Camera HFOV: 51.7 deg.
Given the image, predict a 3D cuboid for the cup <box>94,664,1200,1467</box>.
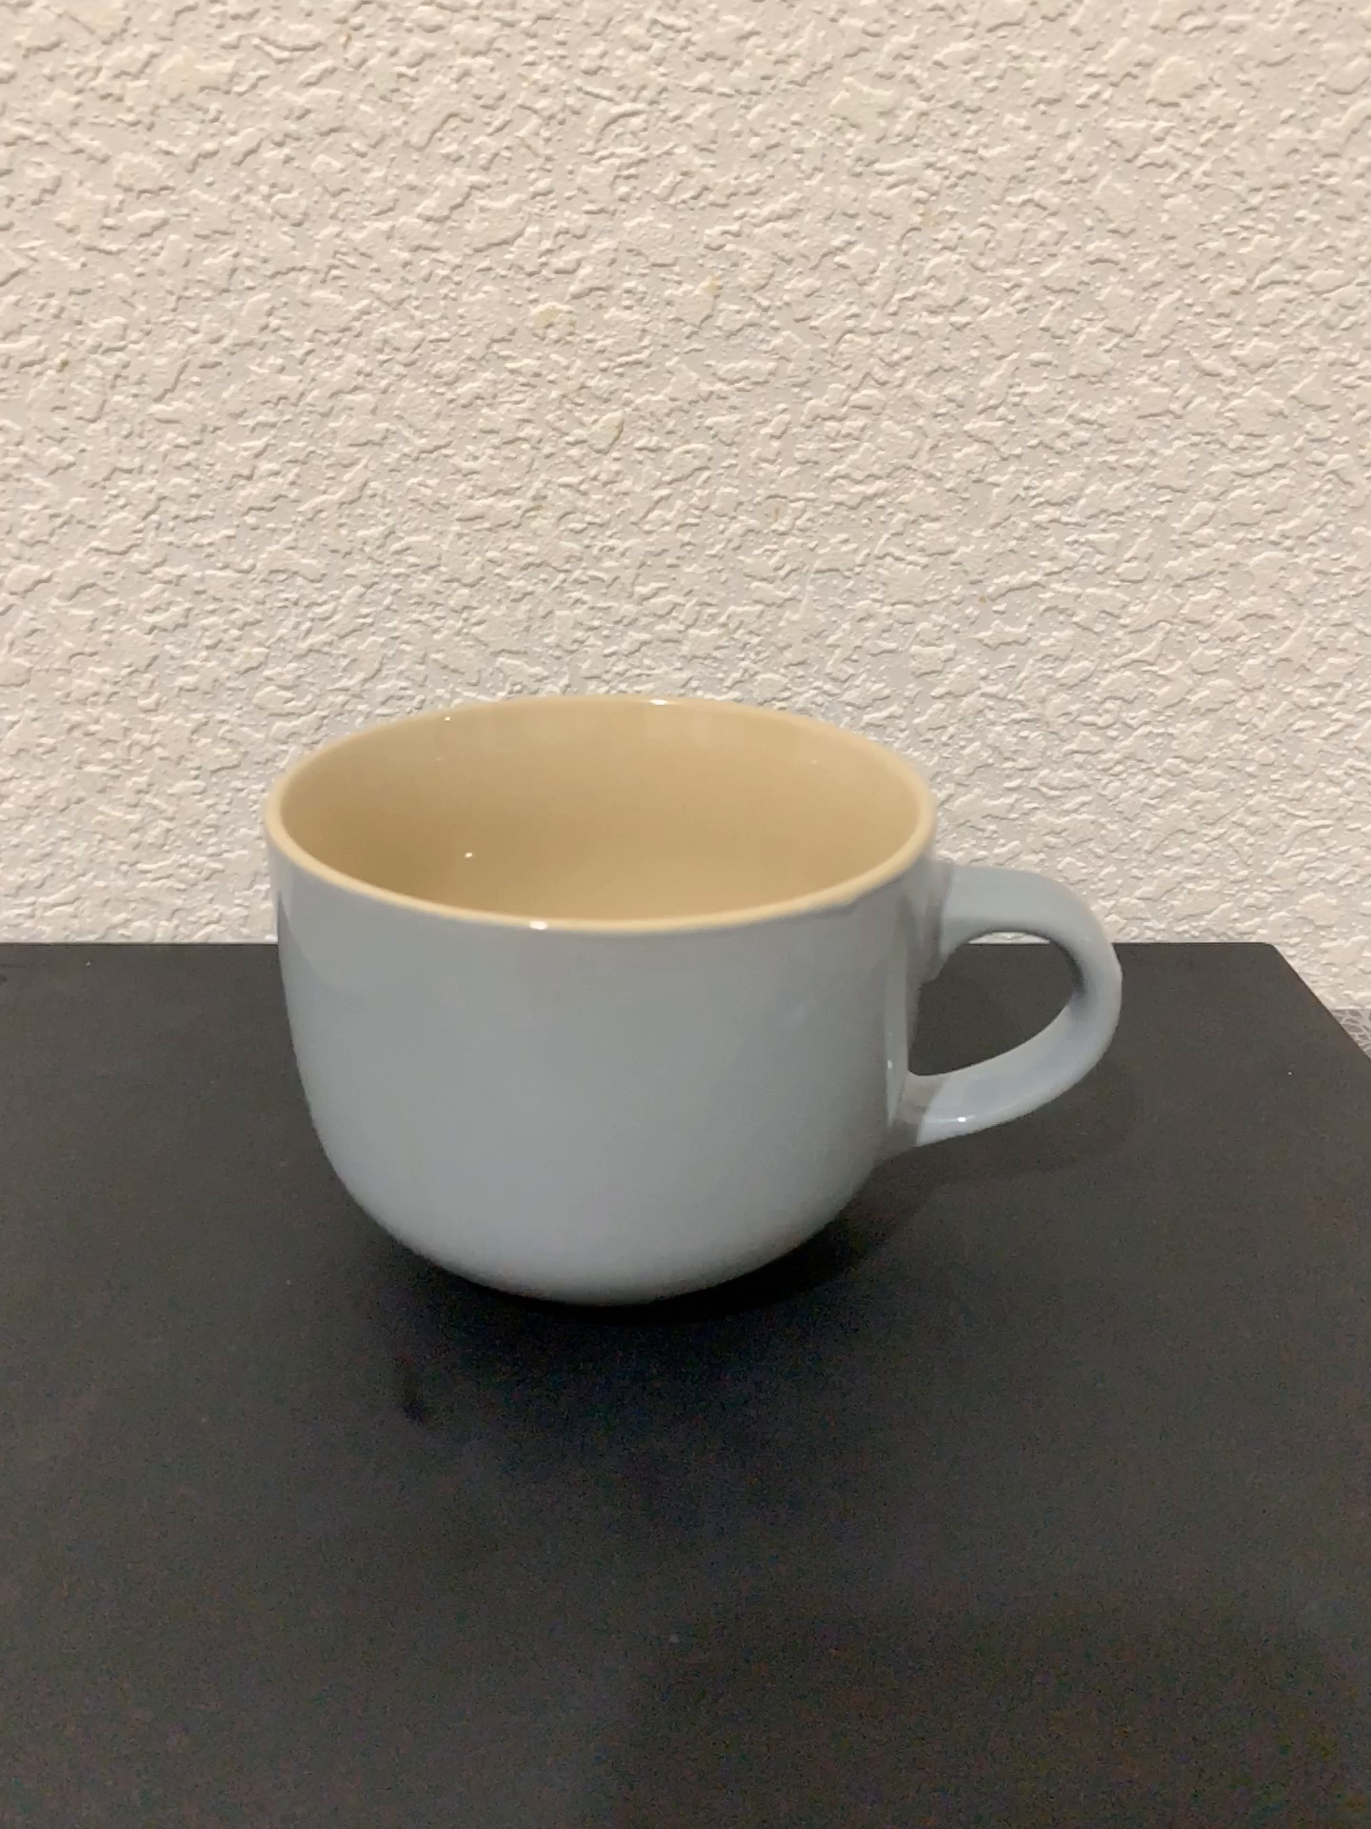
[{"bbox_3d":[-0.002,0.014,0.235,0.133,0.079,0.111,3,25,5],"label":"cup"}]
